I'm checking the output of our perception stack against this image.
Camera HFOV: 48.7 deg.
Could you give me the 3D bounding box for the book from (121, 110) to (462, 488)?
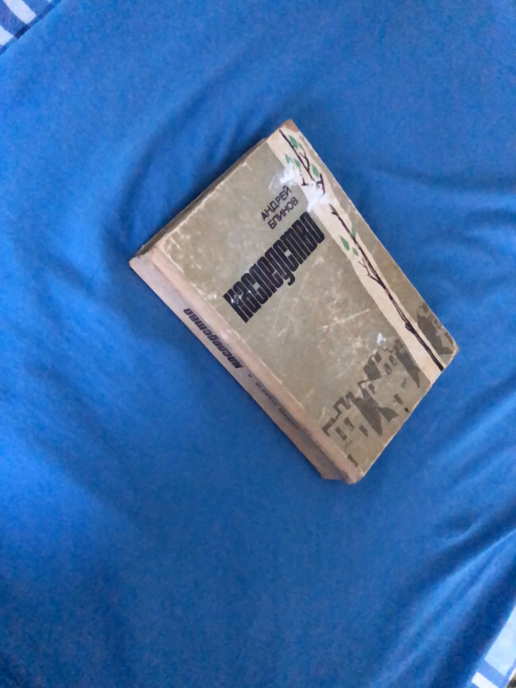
[{"bbox_3d":[0.033,-0.025,0.372,0.200,0.040,0.130,48,68,-18],"label":"book"}]
